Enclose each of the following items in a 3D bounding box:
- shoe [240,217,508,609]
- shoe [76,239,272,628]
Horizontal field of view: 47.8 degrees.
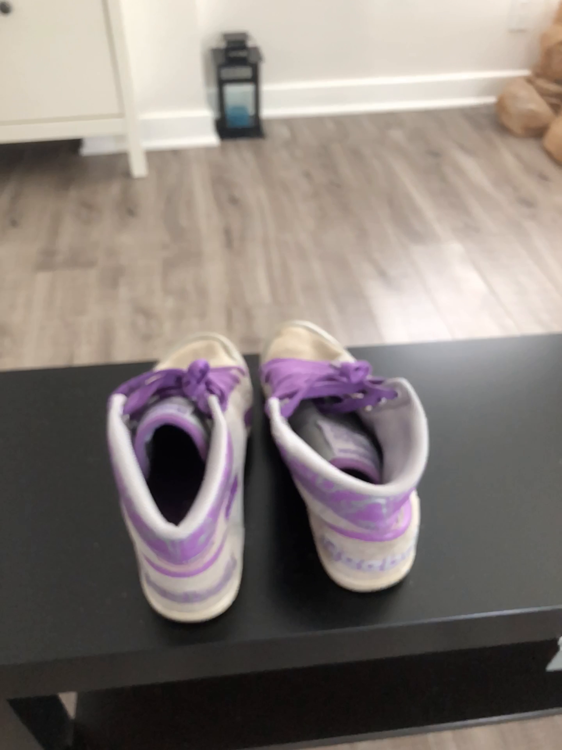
[{"bbox_3d":[0.041,0.010,0.435,0.100,0.120,0.241,-7,44,-8],"label":"shoe"},{"bbox_3d":[-0.053,0.023,0.417,0.090,0.110,0.241,0,44,-1],"label":"shoe"}]
